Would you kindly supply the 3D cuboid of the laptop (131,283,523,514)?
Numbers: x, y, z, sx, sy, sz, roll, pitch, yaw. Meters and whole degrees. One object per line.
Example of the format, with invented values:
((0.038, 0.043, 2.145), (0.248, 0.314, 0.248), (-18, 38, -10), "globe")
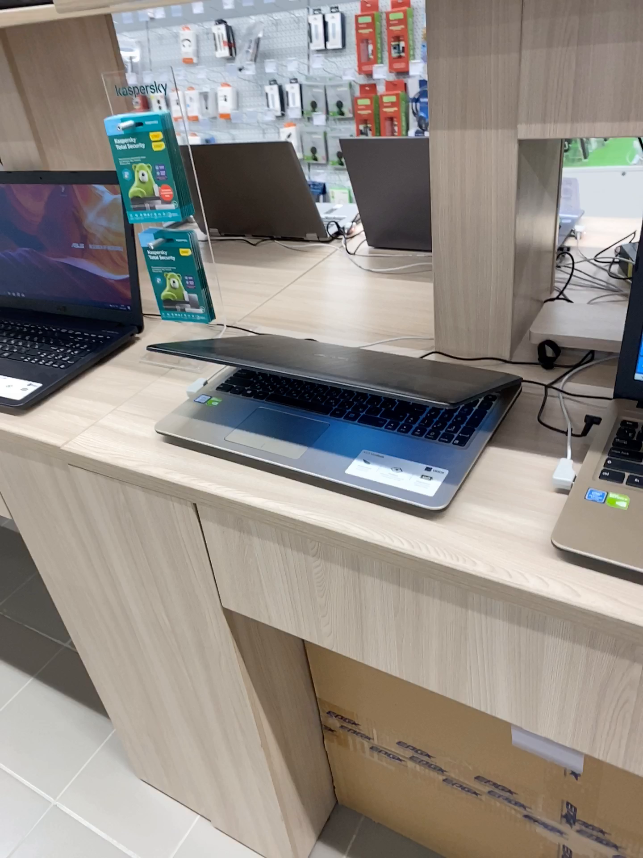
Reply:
((0.008, -0.062, 0.773), (0.383, 0.094, 0.240), (14, 40, 29), "laptop")

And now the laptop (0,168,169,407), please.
((-0.534, -0.248, 1.044), (0.421, 0.235, 0.318), (12, 38, 29), "laptop")
